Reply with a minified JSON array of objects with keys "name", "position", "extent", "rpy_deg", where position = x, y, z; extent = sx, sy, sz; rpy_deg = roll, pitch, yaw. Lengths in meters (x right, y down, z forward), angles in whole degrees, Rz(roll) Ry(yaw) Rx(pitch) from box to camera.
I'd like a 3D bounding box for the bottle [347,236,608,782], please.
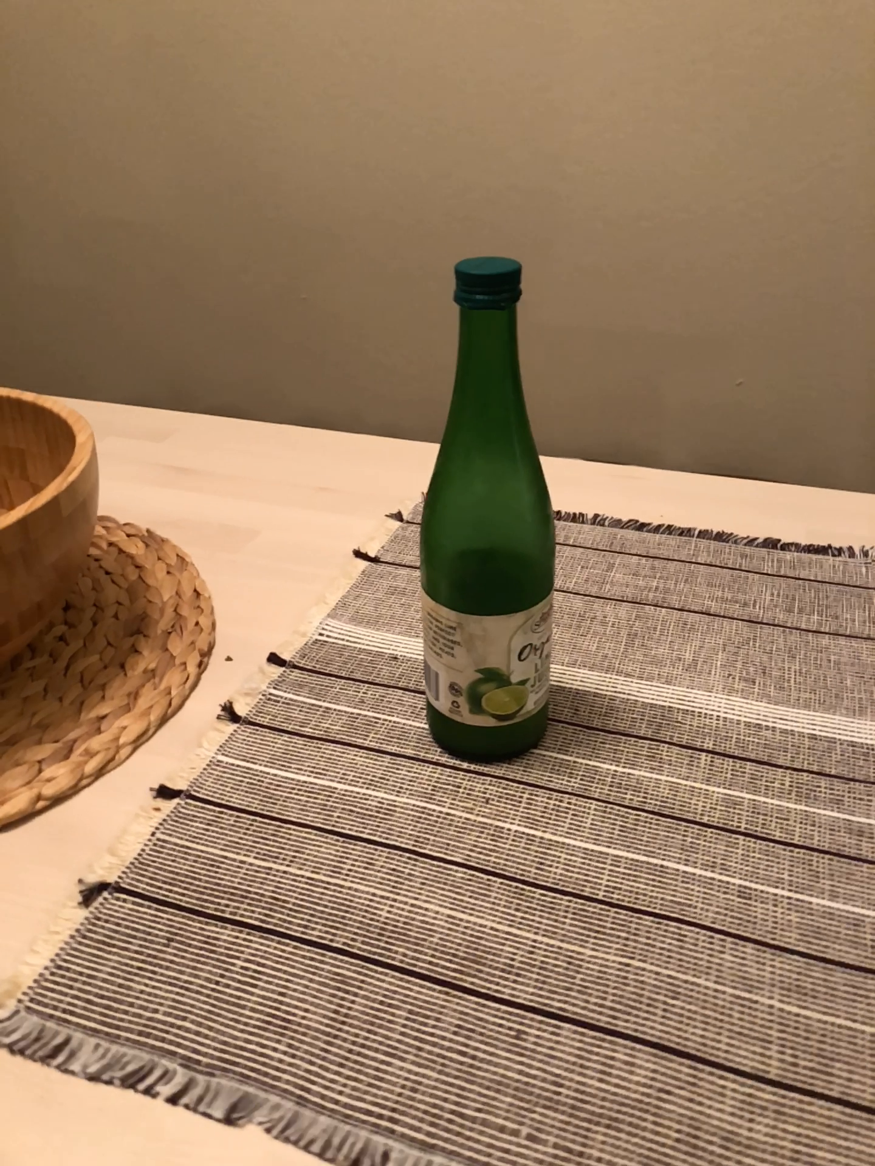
[{"name":"bottle","position":[0.021,-0.032,0.460],"extent":[0.081,0.236,0.080],"rpy_deg":[-1,30,1]}]
